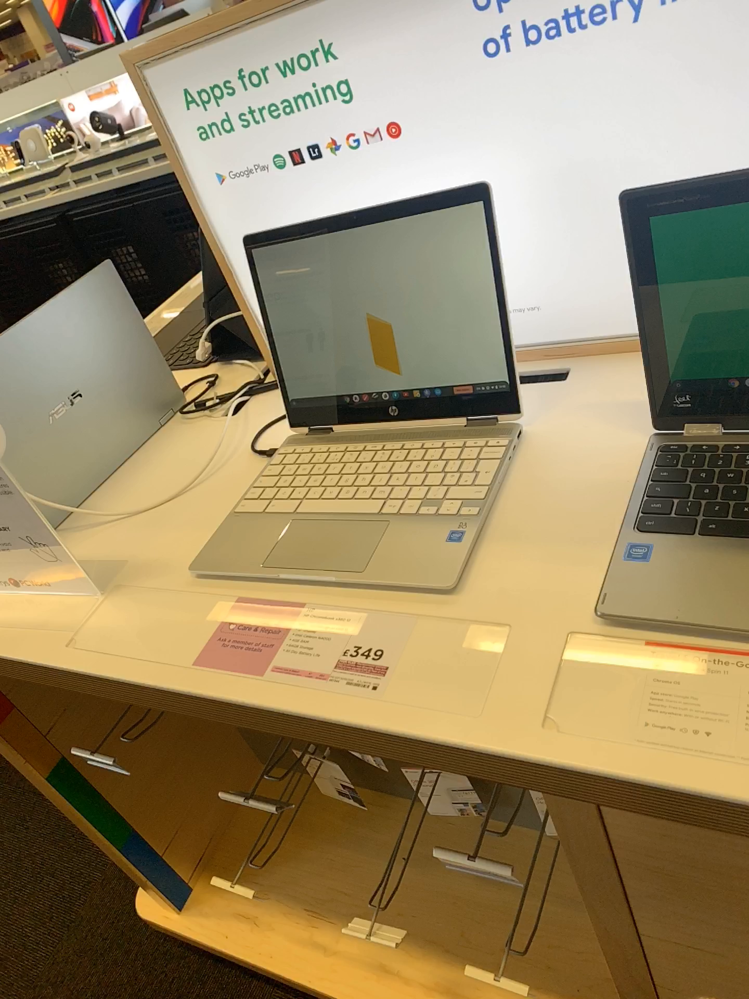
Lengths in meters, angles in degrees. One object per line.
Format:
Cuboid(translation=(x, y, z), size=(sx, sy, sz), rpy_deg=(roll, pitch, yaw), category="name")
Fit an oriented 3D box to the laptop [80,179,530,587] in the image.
Cuboid(translation=(-0.040, -0.100, 0.672), size=(0.258, 0.190, 0.271), rpy_deg=(0, 42, 31), category="laptop")
